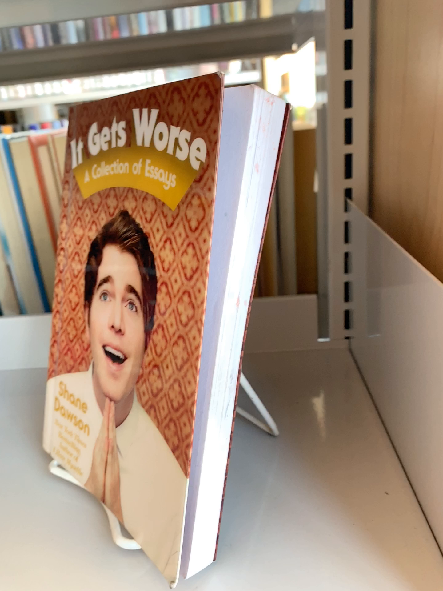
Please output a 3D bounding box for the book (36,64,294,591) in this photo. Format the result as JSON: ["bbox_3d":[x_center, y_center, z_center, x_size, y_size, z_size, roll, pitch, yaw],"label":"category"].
[{"bbox_3d":[-0.046,0.008,0.236,0.030,0.209,0.149,-6,16,-45],"label":"book"}]
